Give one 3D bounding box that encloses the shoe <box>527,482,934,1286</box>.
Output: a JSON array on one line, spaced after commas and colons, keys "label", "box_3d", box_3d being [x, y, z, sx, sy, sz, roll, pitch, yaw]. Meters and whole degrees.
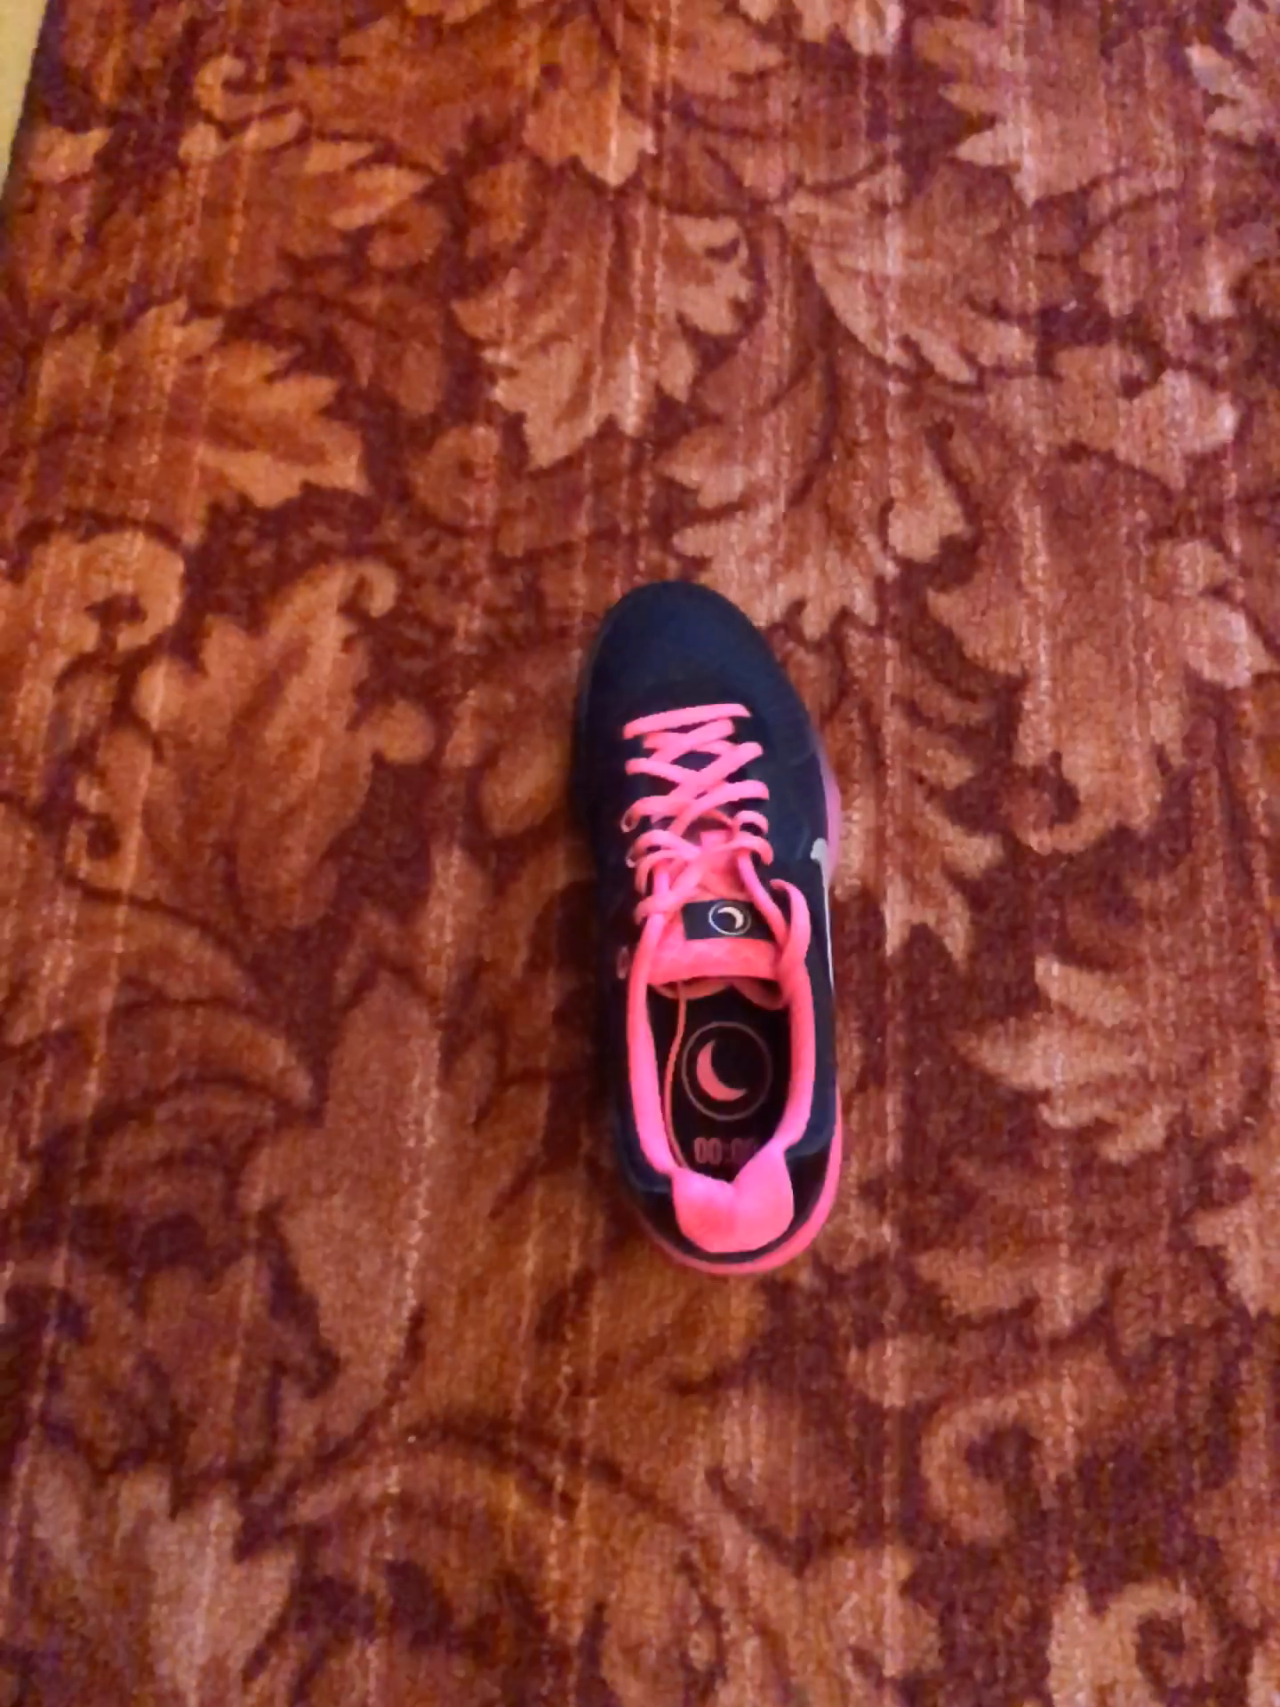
[{"label": "shoe", "box_3d": [0.025, 0.014, 0.479, 0.110, 0.100, 0.250, -3, 73, 3]}]
